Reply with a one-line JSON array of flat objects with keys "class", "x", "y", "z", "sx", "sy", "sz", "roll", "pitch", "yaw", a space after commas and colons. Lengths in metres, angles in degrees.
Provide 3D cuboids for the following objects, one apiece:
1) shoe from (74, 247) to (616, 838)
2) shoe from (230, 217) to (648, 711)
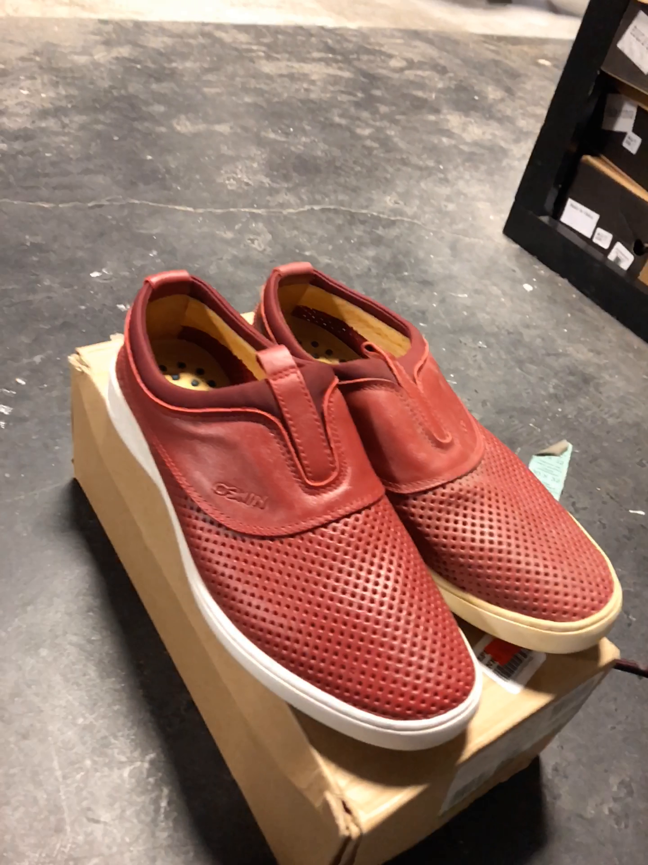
[{"class": "shoe", "x": -0.013, "y": 0.029, "z": 0.324, "sx": 0.100, "sy": 0.109, "sz": 0.231, "roll": -22, "pitch": 53, "yaw": -34}, {"class": "shoe", "x": 0.062, "y": -0.001, "z": 0.372, "sx": 0.100, "sy": 0.109, "sz": 0.231, "roll": -22, "pitch": 53, "yaw": -34}]
